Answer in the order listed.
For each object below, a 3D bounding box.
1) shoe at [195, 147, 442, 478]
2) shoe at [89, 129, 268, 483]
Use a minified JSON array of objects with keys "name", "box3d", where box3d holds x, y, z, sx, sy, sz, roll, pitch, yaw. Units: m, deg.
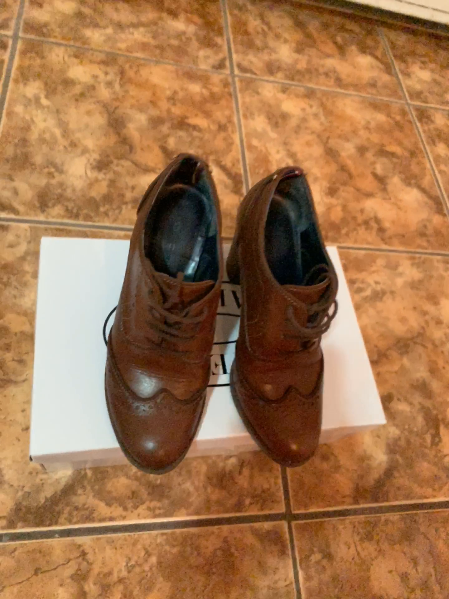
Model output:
[{"name":"shoe","box3d":[0.053,0.010,0.384,0.096,0.137,0.228,-3,62,-18]},{"name":"shoe","box3d":[-0.046,0.009,0.357,0.096,0.137,0.228,3,60,-14]}]
